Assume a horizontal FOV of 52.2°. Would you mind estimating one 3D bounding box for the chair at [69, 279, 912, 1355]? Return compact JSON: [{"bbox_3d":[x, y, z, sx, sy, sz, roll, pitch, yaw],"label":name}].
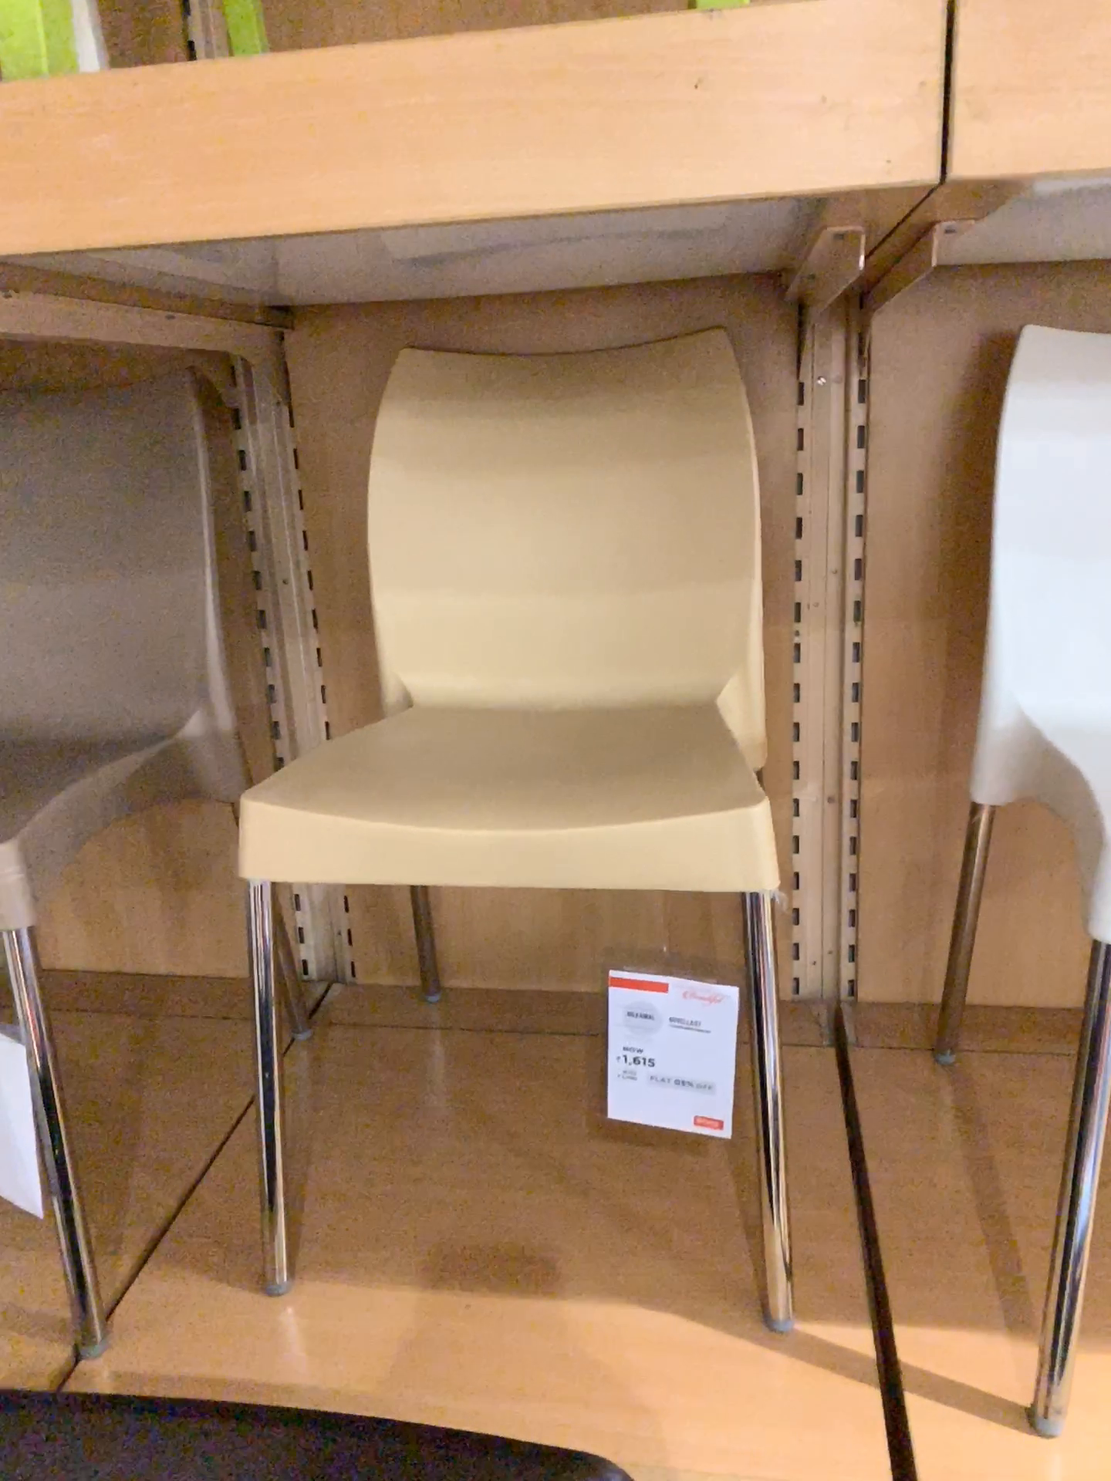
[{"bbox_3d":[-0.013,0.014,1.111,0.540,0.807,0.592,2,17,7],"label":"chair"}]
